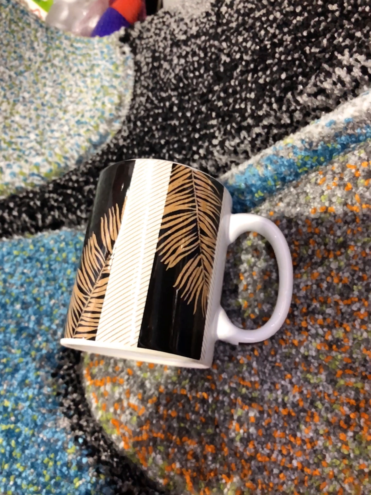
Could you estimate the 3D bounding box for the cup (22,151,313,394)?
[{"bbox_3d":[-0.004,0.017,0.222,0.120,0.070,0.100,6,72,1],"label":"cup"}]
